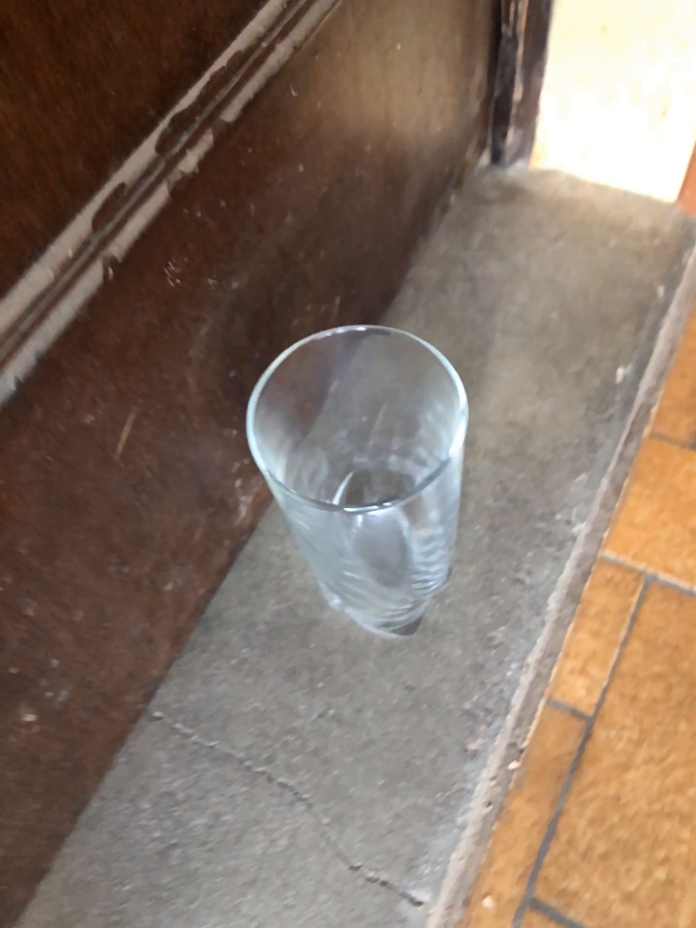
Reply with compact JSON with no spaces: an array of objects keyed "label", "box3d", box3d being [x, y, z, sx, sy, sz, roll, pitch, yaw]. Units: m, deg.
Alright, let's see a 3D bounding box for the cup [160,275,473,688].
[{"label":"cup","box3d":[0.000,0.016,0.270,0.060,0.139,0.070,20,65,17]}]
